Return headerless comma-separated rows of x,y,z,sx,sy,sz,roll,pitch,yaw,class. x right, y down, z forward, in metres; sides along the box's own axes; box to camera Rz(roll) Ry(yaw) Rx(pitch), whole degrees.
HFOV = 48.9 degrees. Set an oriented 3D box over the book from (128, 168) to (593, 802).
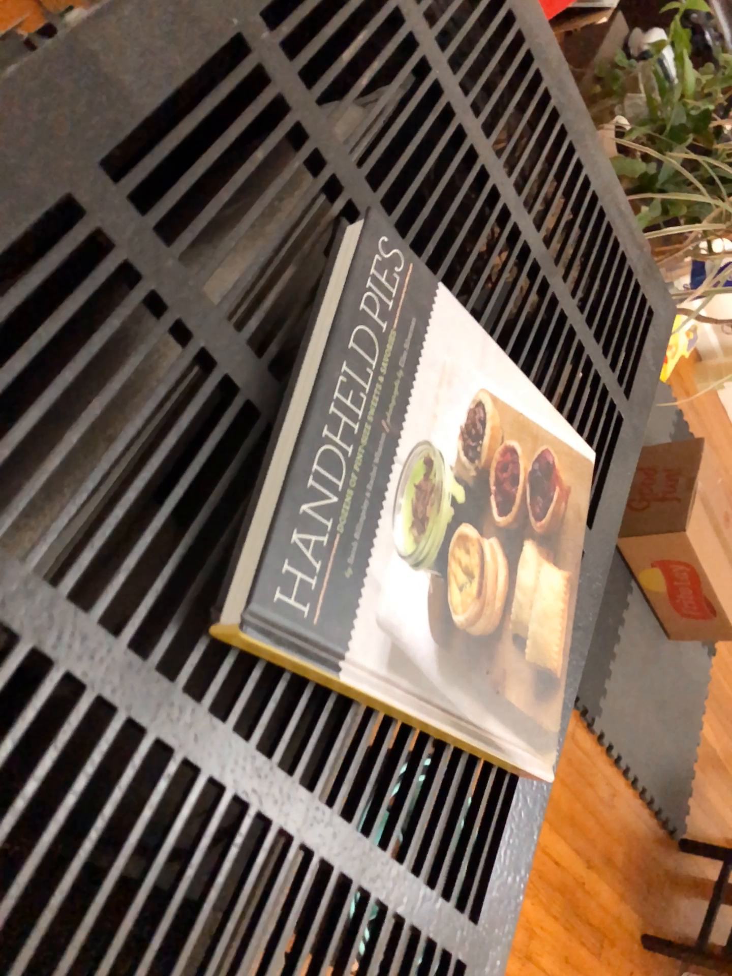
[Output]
0.028,0.012,0.365,0.231,0.020,0.200,36,59,-39,book
